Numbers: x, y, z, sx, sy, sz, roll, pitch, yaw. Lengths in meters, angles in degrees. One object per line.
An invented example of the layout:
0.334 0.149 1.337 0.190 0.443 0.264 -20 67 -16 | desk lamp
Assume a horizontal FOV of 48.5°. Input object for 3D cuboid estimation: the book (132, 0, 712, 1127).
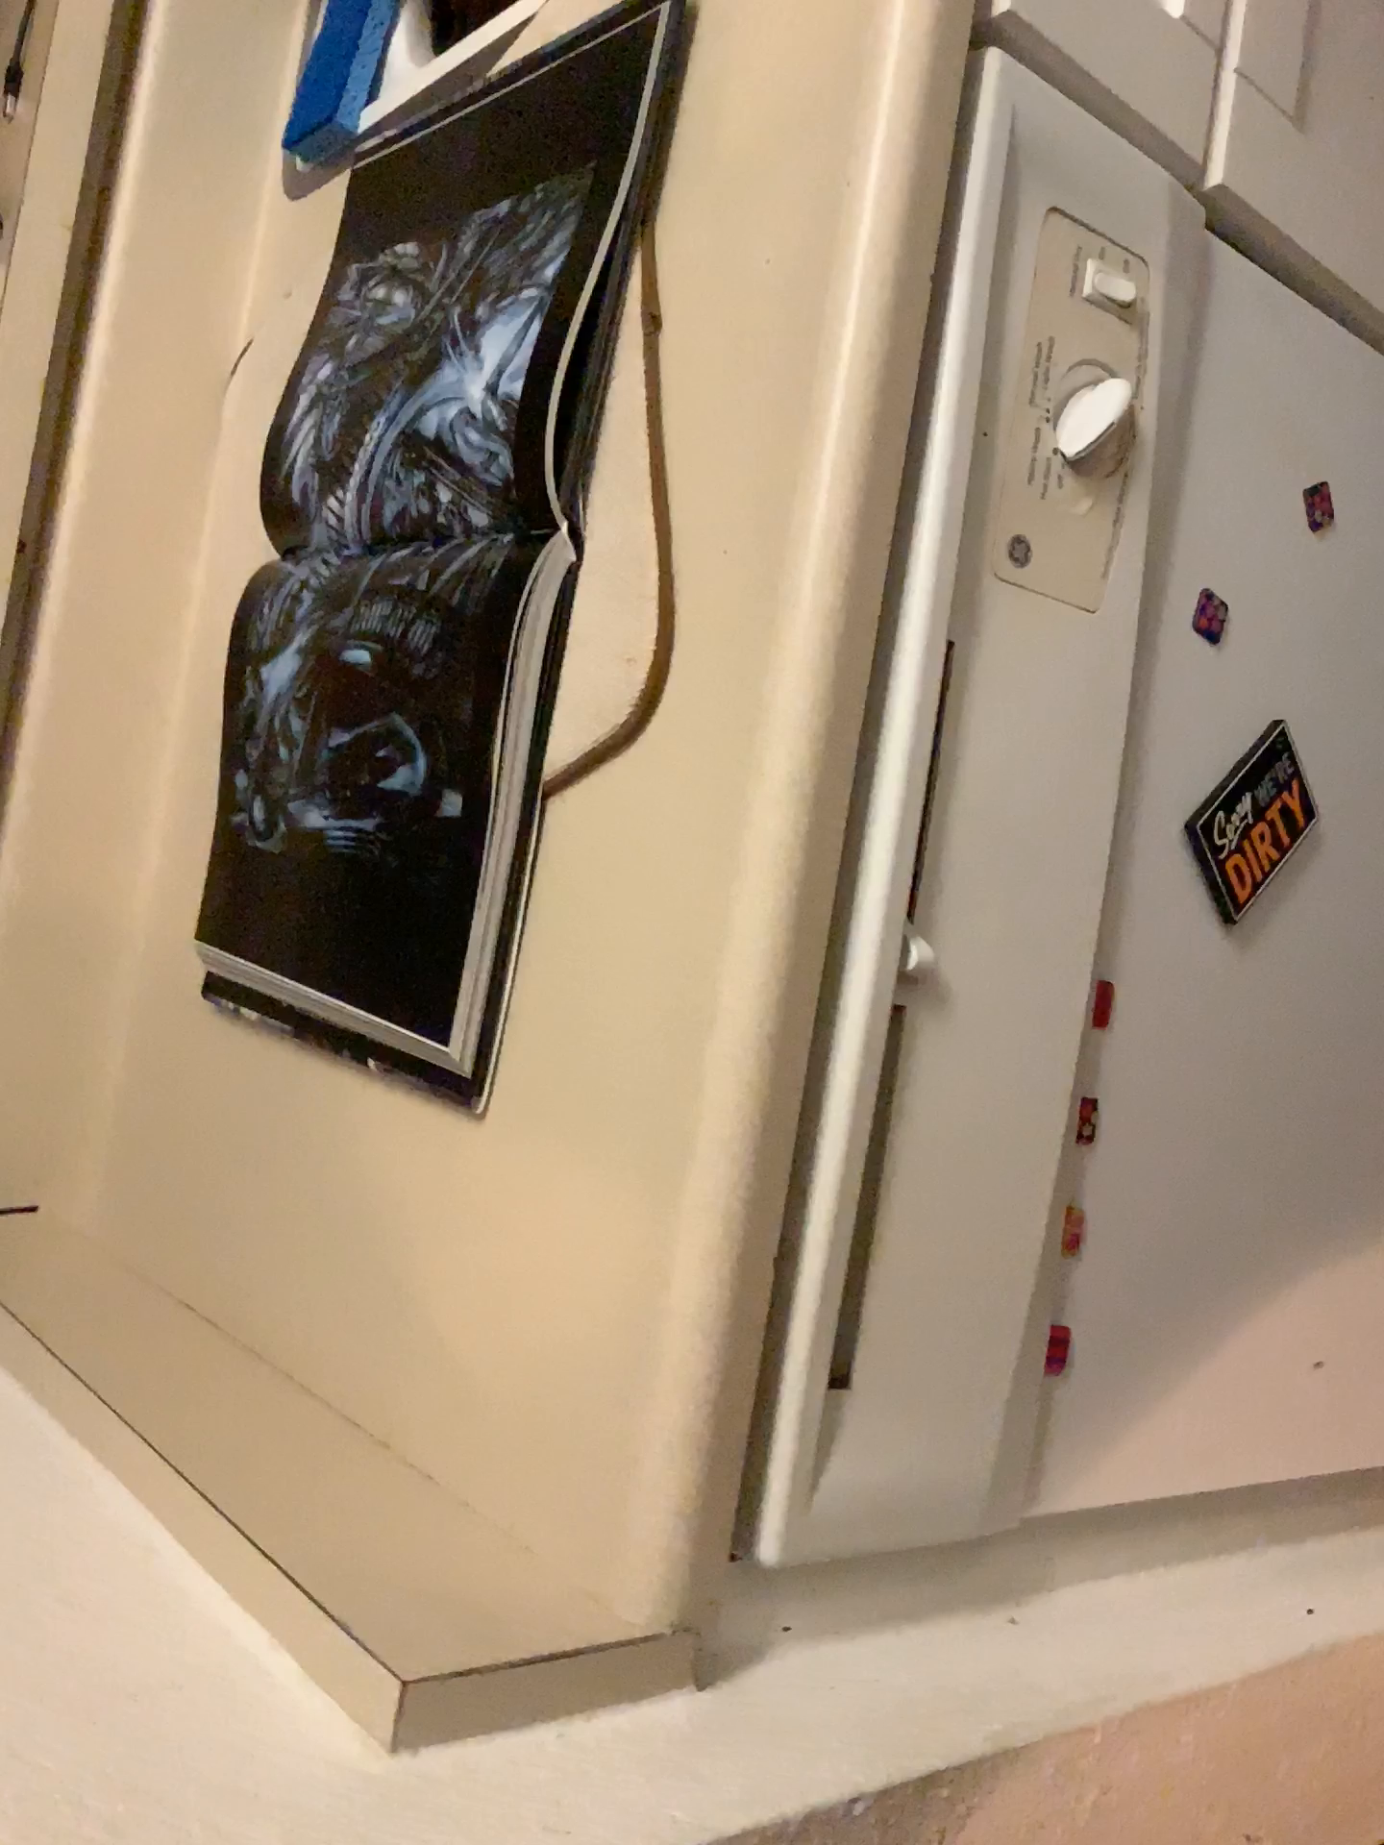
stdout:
-0.166 -0.194 0.812 0.350 0.040 0.530 12 91 51 | book
